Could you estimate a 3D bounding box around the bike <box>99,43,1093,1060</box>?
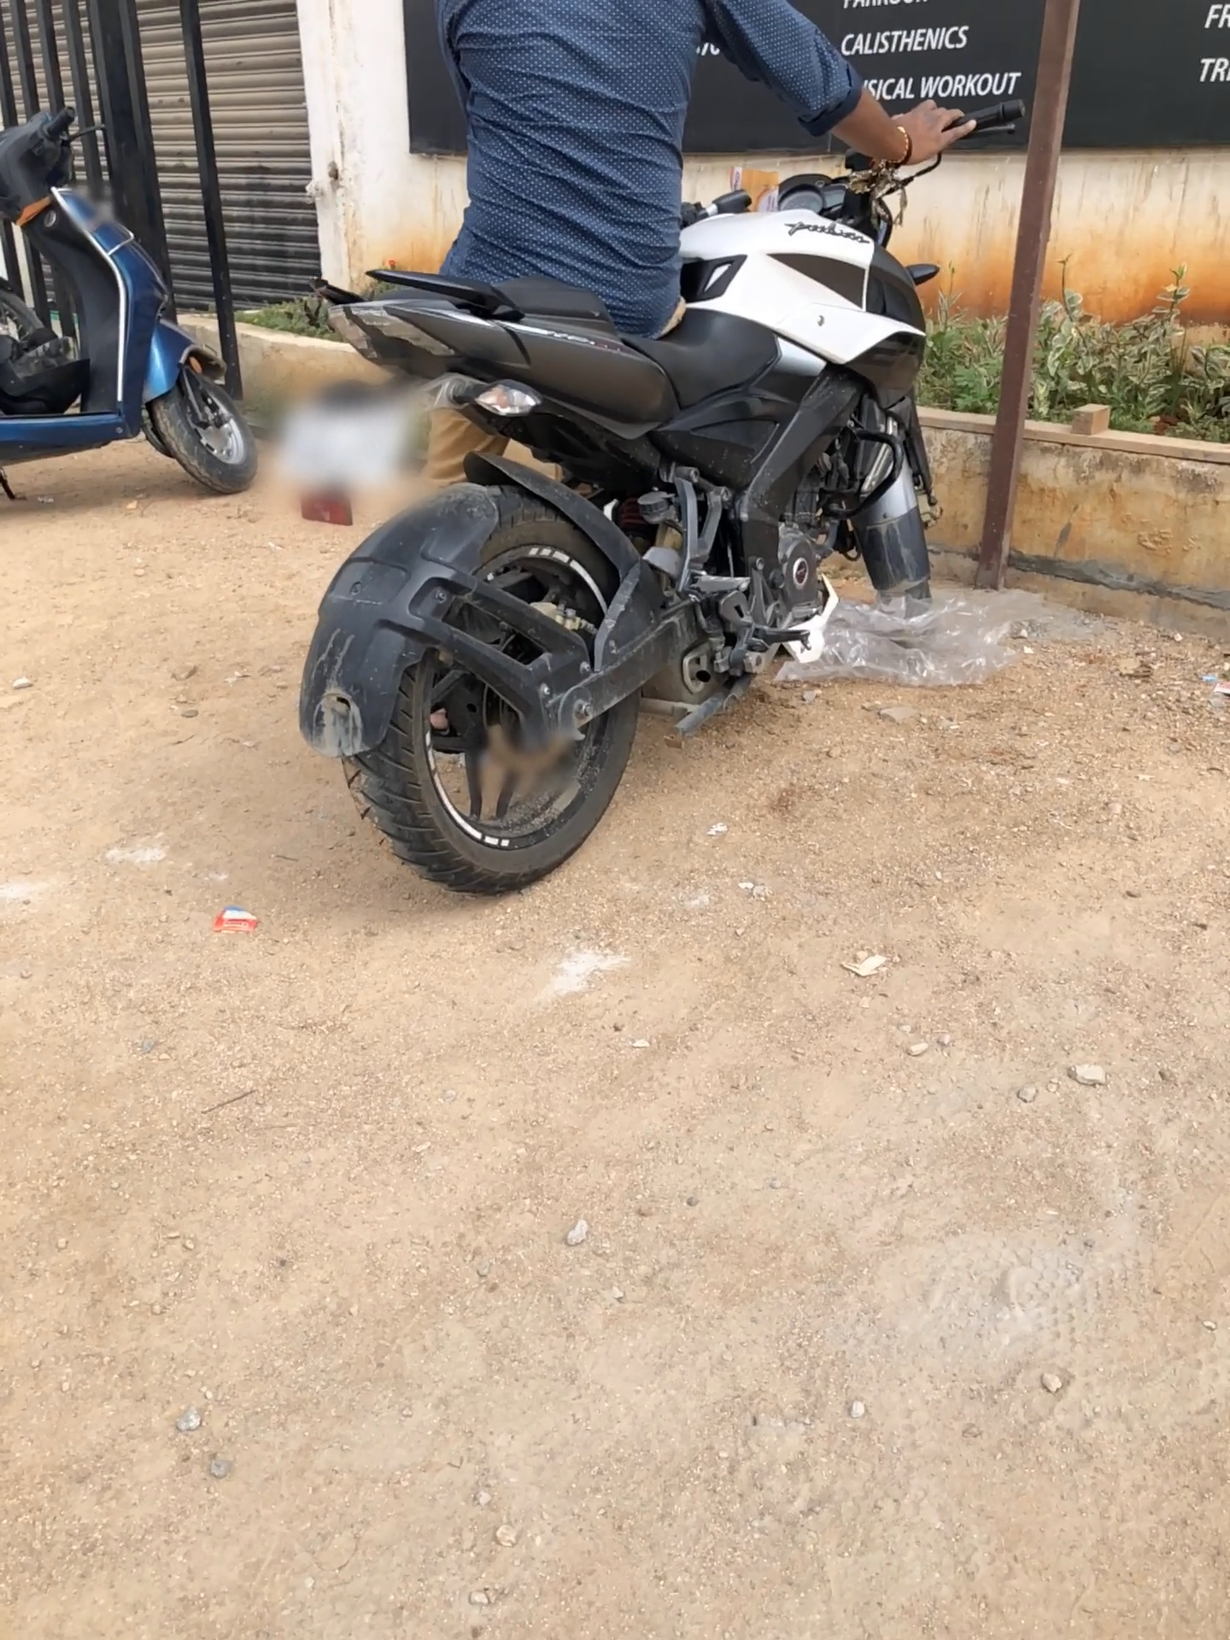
[{"bbox_3d":[0.161,-0.700,2.366,0.778,1.123,1.861,14,31,26],"label":"bike"}]
